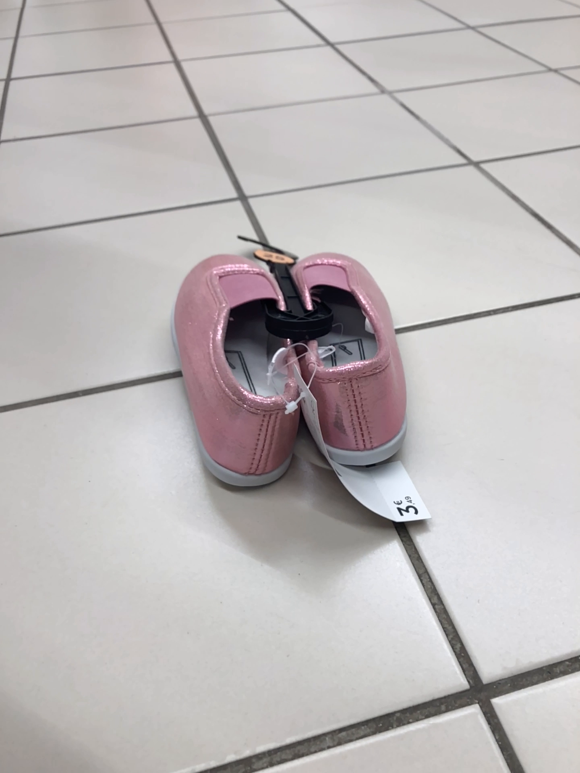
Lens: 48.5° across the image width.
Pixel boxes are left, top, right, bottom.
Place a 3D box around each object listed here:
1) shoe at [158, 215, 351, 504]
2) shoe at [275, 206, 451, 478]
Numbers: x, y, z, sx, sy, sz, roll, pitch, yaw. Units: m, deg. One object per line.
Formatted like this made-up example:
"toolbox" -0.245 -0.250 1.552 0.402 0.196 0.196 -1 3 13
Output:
"shoe" -0.025 -0.025 0.333 0.069 0.050 0.164 -9 42 -8
"shoe" 0.030 -0.033 0.340 0.059 0.051 0.162 -5 41 -3
